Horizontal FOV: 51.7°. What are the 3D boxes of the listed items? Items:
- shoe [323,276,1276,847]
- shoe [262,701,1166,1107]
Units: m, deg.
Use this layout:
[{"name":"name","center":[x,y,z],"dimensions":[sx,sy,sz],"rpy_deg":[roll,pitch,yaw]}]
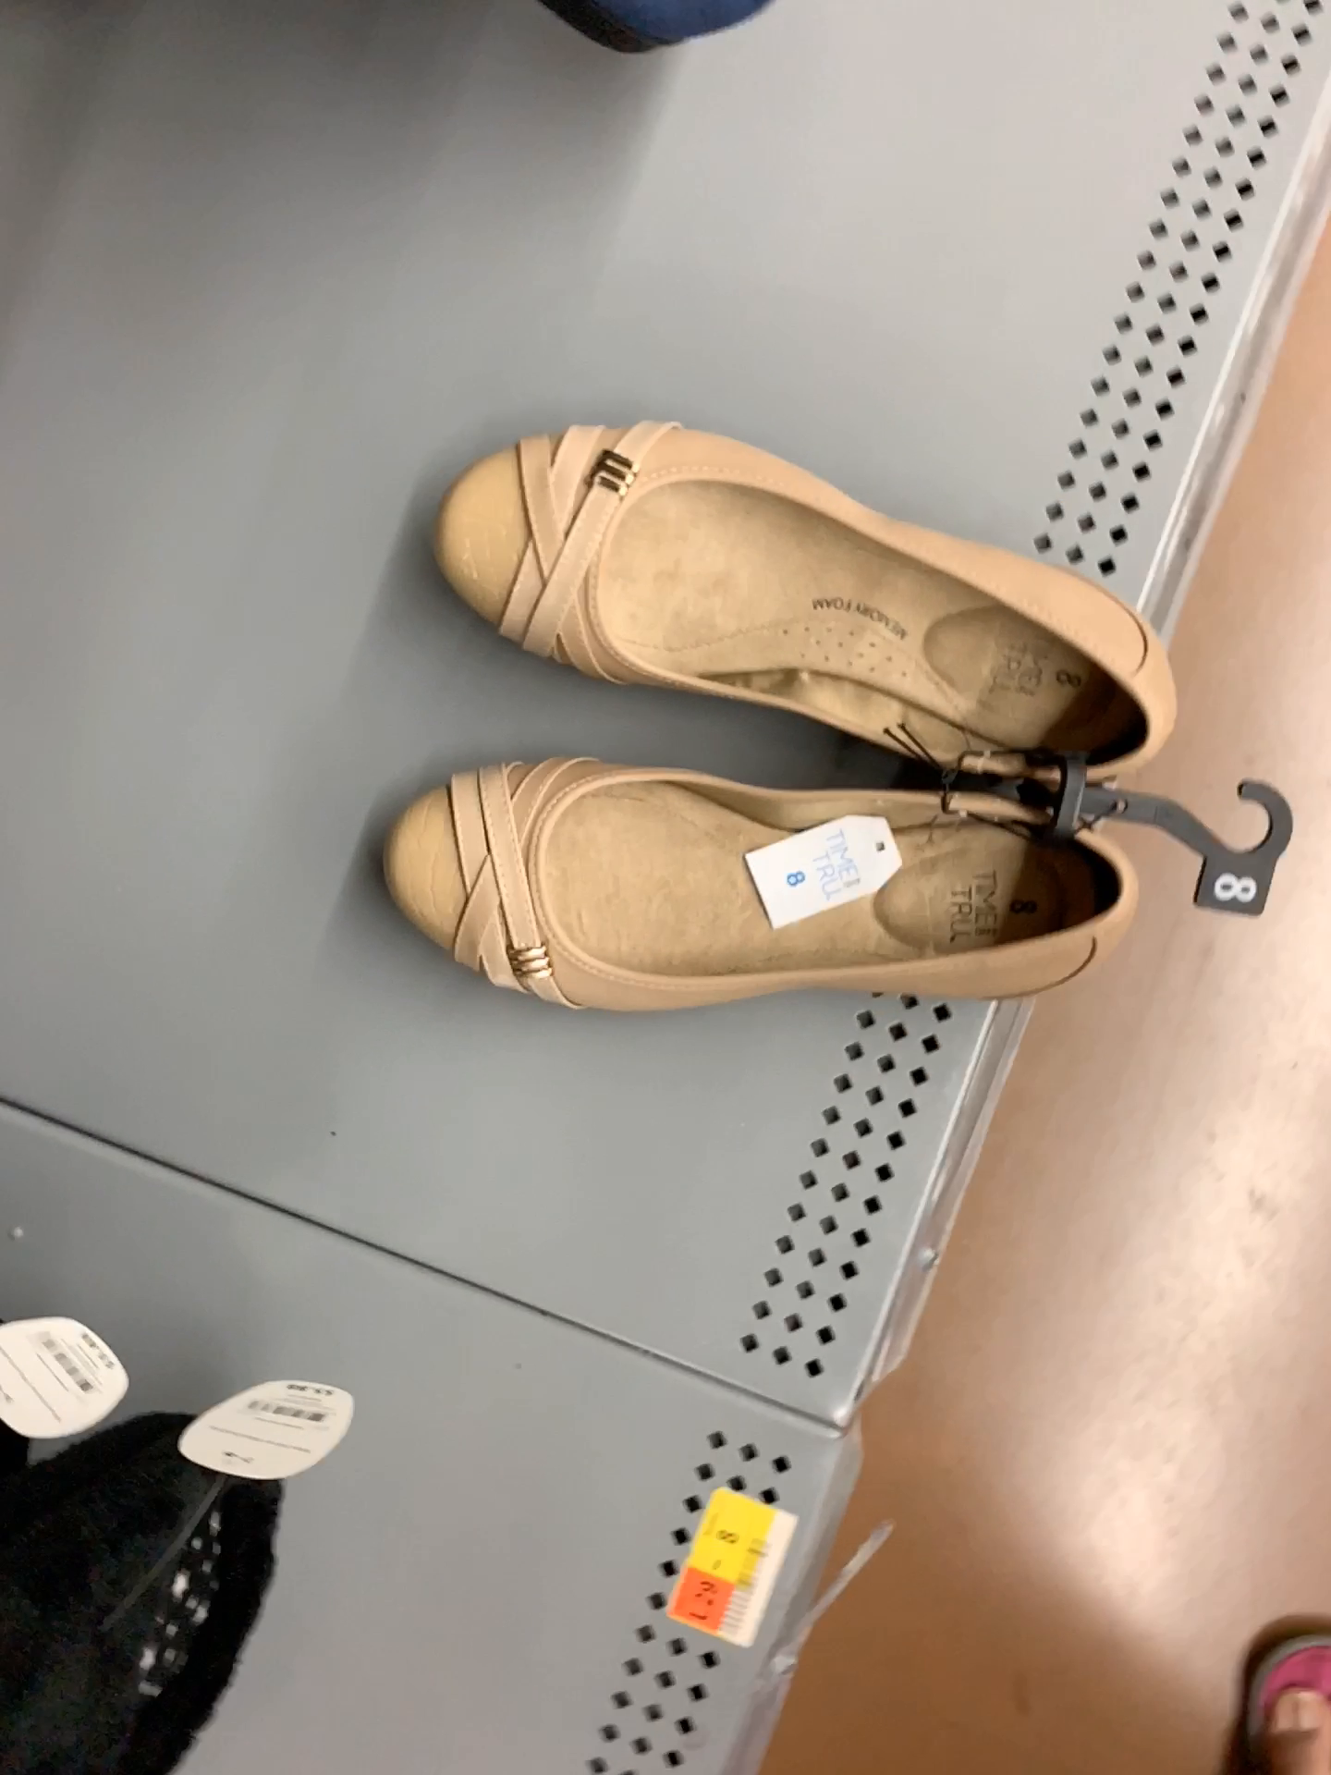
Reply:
[{"name":"shoe","center":[0.042,-0.105,0.479],"dimensions":[0.280,0.100,0.100],"rpy_deg":[17,89,3]},{"name":"shoe","center":[0.016,0.006,0.490],"dimensions":[0.280,0.100,0.100],"rpy_deg":[6,88,3]}]
